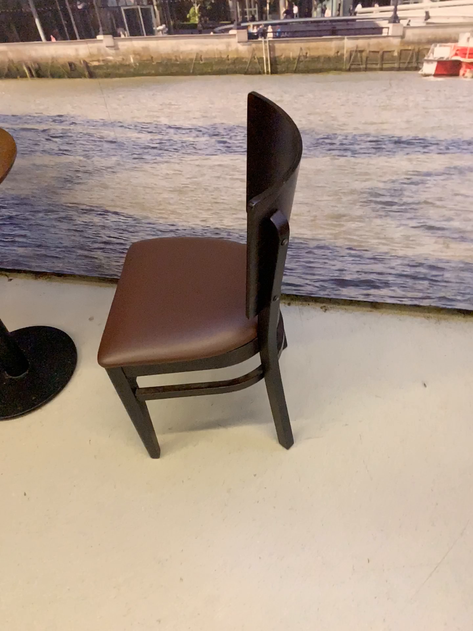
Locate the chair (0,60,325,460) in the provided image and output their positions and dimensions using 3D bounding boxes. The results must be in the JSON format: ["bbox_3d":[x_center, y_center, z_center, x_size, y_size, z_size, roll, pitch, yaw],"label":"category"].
[{"bbox_3d":[-0.068,-0.095,1.150,0.516,0.729,0.563,-2,45,8],"label":"chair"}]
